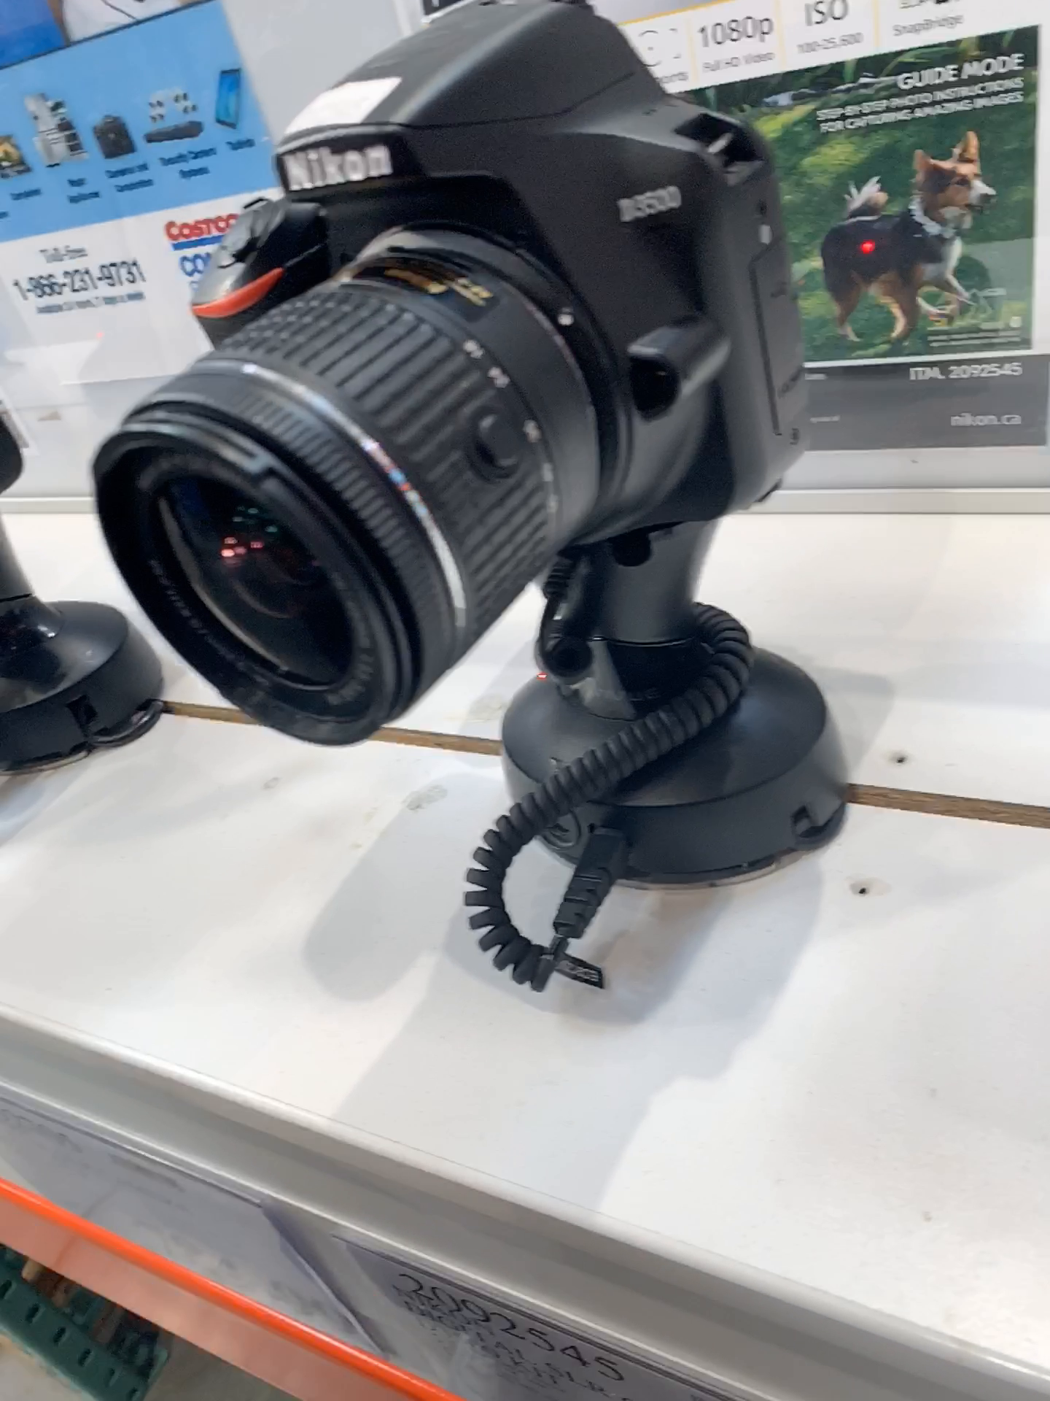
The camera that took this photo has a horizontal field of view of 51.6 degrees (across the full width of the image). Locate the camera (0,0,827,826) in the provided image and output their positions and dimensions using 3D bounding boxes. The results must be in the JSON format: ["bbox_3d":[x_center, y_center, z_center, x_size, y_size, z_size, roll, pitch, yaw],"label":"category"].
[{"bbox_3d":[-0.024,-0.064,0.204,0.117,0.099,0.121,8,43,32],"label":"camera"}]
